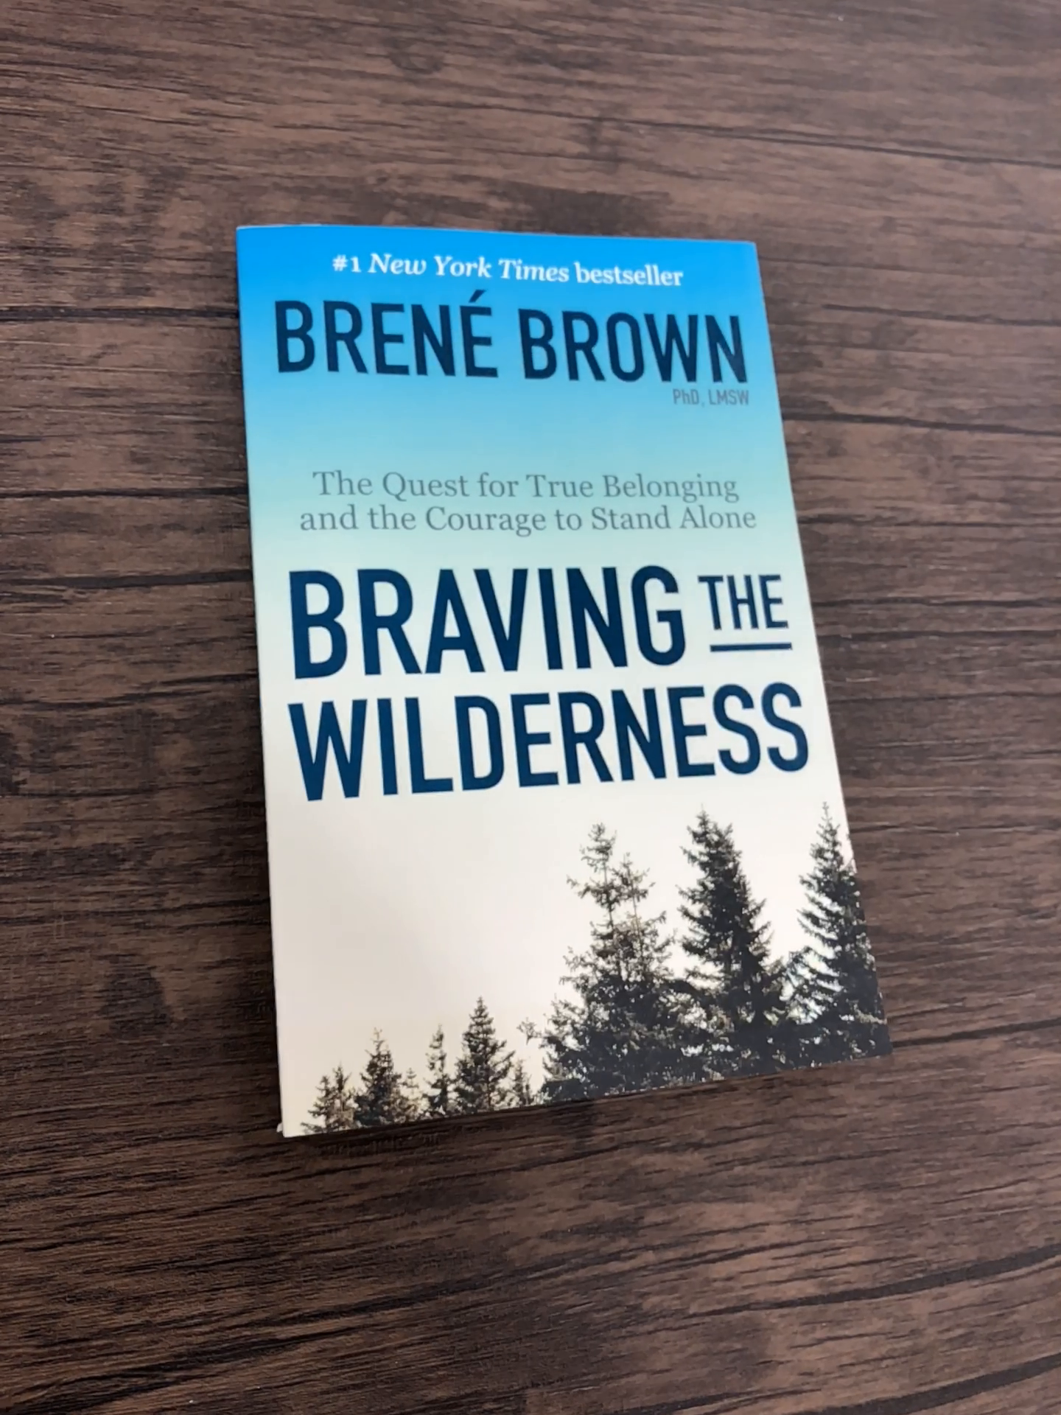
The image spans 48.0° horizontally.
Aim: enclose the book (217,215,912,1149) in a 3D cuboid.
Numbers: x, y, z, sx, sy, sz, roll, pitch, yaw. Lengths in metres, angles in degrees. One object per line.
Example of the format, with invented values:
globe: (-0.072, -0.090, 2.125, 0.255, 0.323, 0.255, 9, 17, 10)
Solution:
book: (0.004, -0.014, 0.261, 0.130, 0.021, 0.191, -3, 78, -13)
